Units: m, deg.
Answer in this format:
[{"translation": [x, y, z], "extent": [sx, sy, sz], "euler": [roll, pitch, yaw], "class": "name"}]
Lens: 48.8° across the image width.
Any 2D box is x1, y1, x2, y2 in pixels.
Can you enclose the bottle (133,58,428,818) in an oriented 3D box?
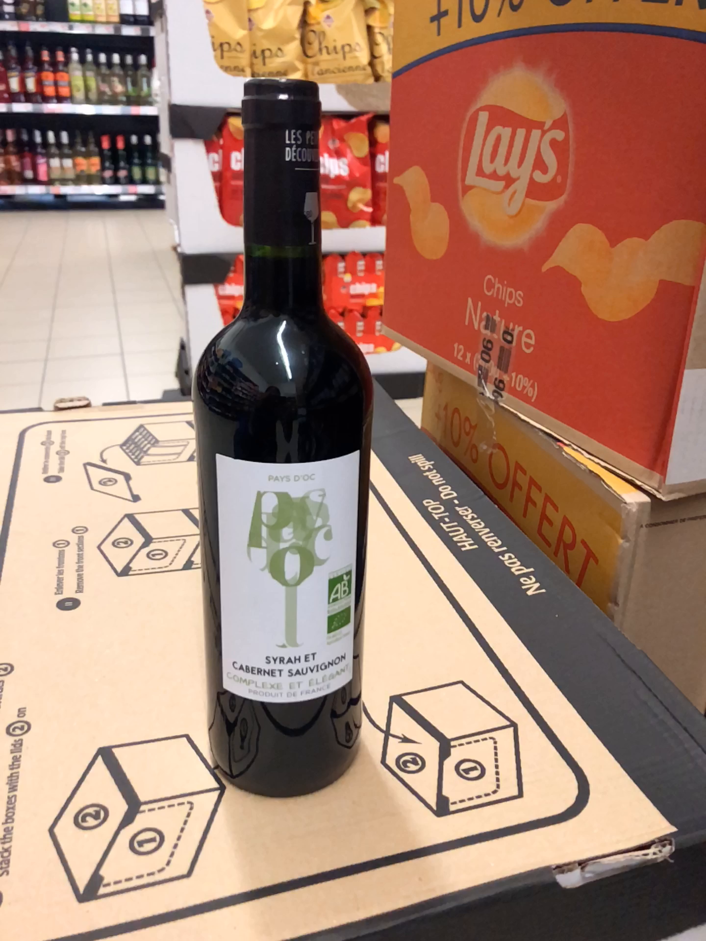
[{"translation": [-0.029, -0.002, 0.331], "extent": [0.090, 0.298, 0.080], "euler": [-3, 23, -8], "class": "bottle"}]
